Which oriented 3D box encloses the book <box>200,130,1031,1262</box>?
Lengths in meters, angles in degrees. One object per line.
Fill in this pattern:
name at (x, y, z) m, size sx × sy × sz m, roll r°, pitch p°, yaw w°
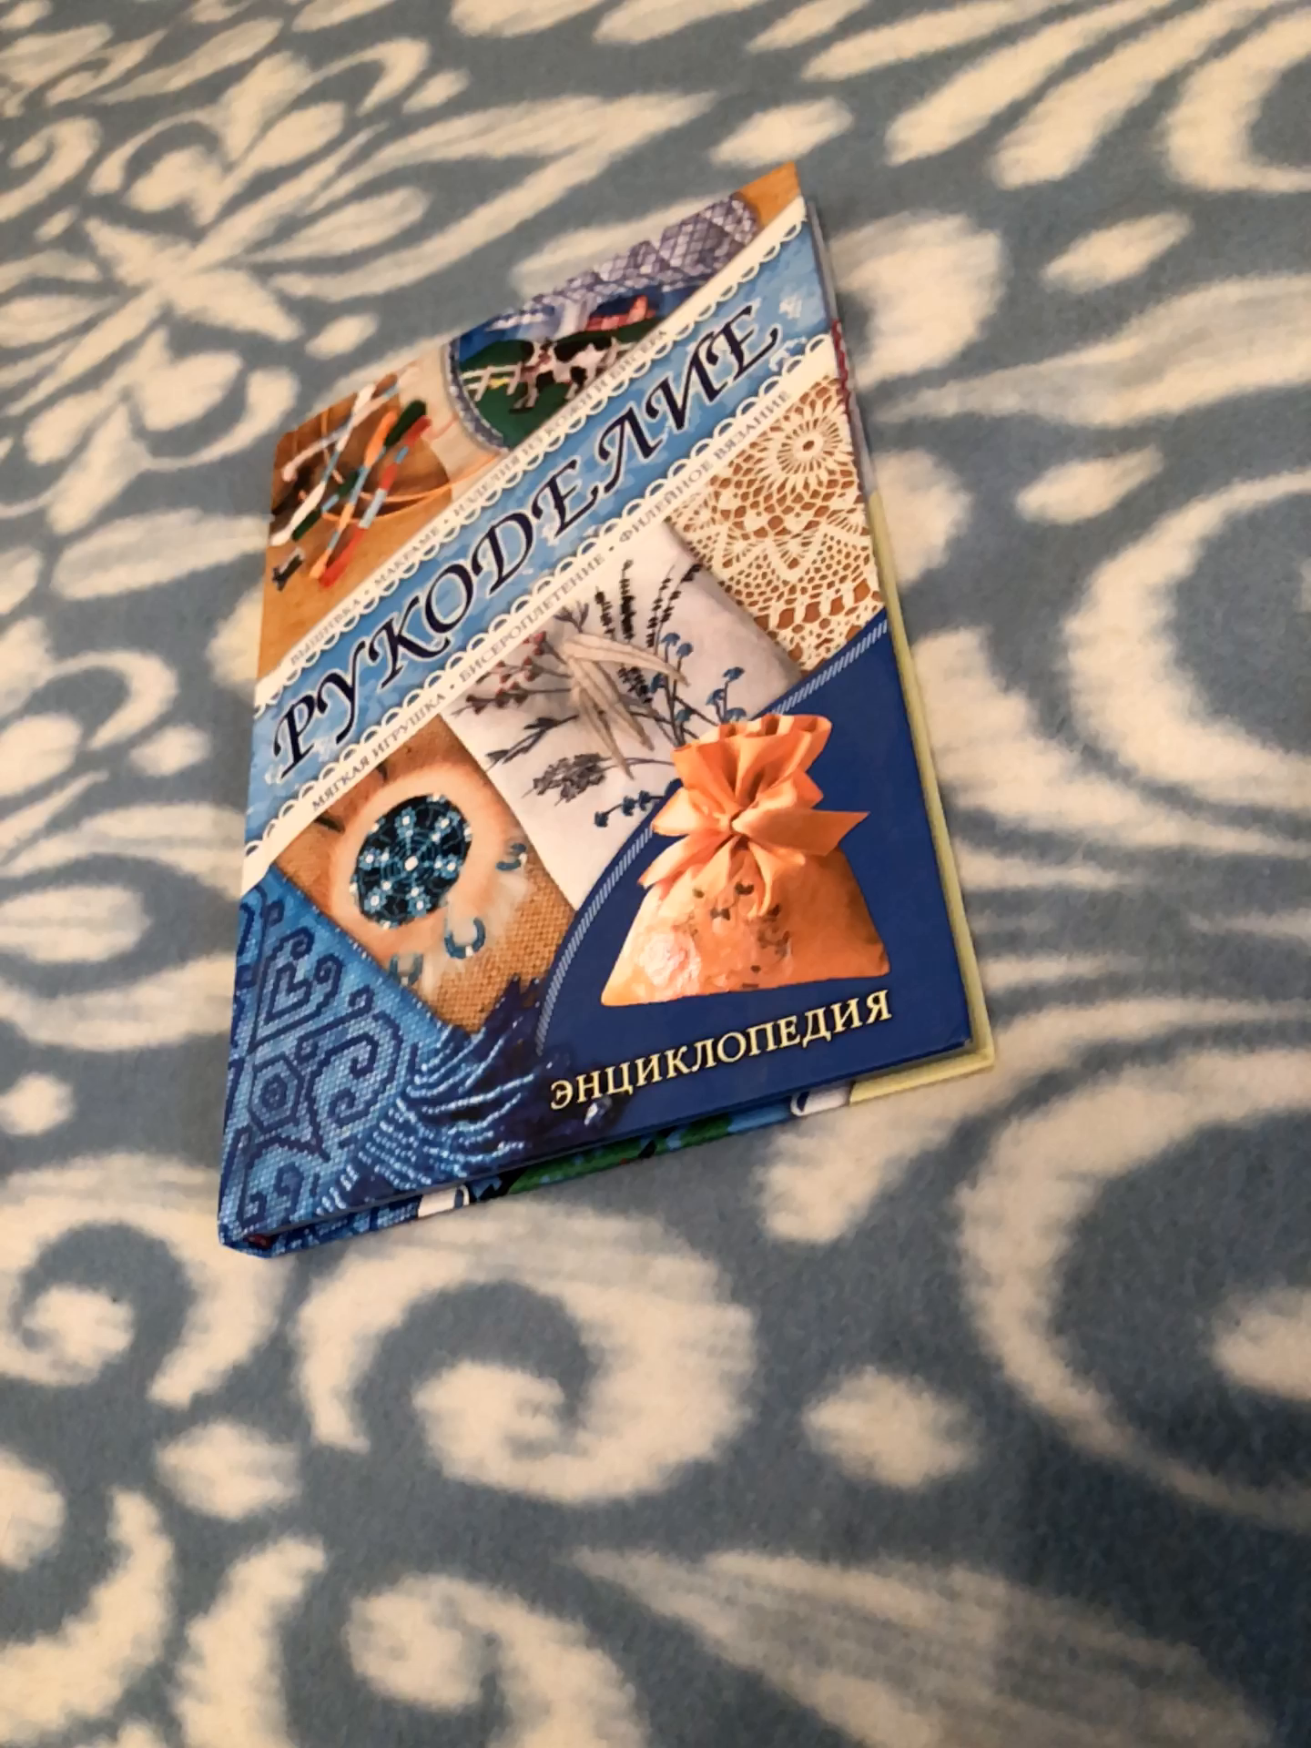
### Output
book at (-0.024, -0.049, 0.333) m, size 0.168 × 0.020 × 0.238 m, roll -19°, pitch 57°, yaw 22°
